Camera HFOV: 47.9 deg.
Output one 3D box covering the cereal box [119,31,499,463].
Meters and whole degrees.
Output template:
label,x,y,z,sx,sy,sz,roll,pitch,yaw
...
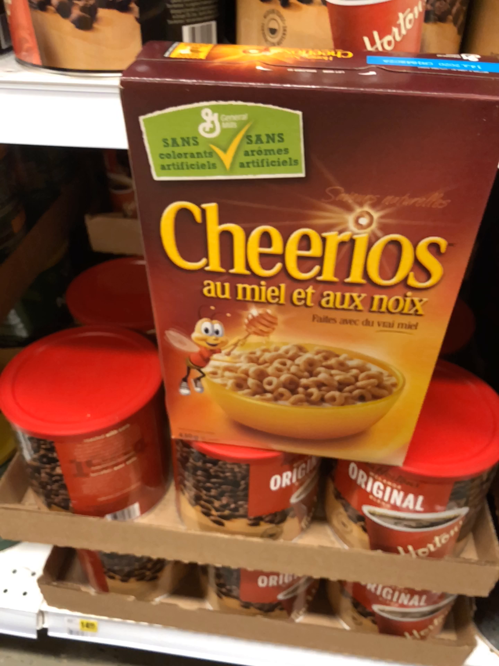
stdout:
label,x,y,z,sx,sy,sz,roll,pitch,yaw
cereal box,0.041,-0.034,0.381,0.200,0.289,0.060,6,42,7
